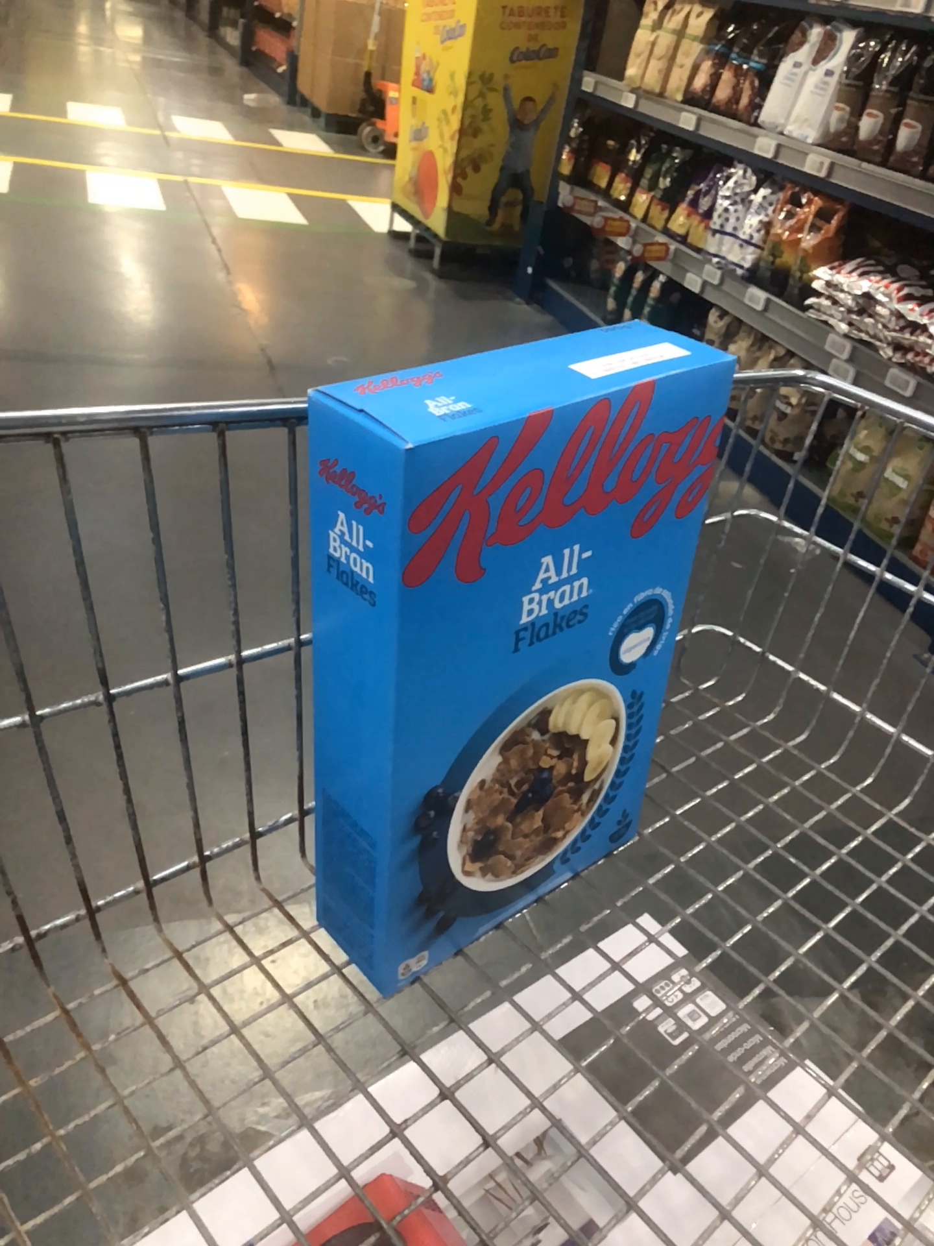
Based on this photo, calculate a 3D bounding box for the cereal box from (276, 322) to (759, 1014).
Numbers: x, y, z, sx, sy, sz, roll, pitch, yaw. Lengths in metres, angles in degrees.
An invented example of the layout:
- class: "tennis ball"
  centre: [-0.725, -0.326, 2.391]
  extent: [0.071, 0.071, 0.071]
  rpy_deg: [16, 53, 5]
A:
- class: "cereal box"
  centre: [0.018, 0.015, 0.487]
  extent: [0.201, 0.269, 0.080]
  rpy_deg: [-22, 40, -39]
